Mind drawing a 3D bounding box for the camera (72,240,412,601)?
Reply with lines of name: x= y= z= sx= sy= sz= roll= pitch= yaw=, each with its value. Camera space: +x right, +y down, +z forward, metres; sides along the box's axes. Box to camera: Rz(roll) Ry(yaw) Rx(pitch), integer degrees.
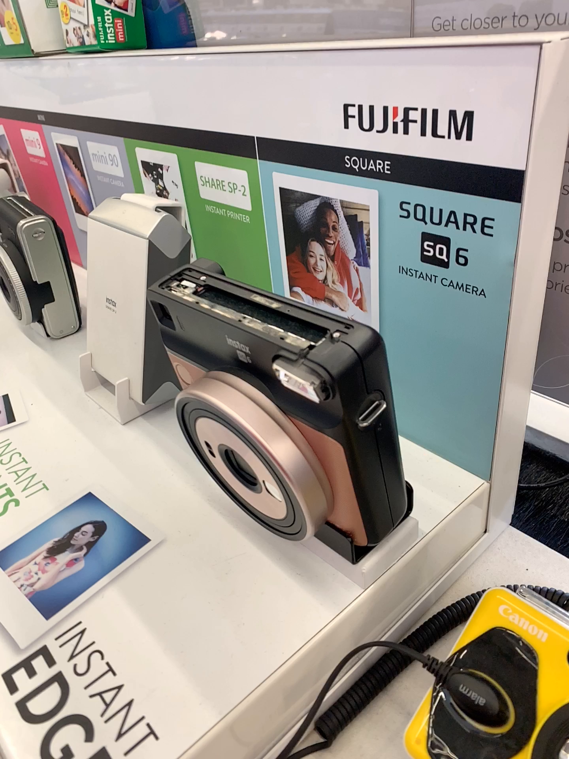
camera: x=-0.017 y=0.014 z=0.275 sx=0.131 sy=0.119 sz=0.060 roll=25 pitch=54 yaw=39
